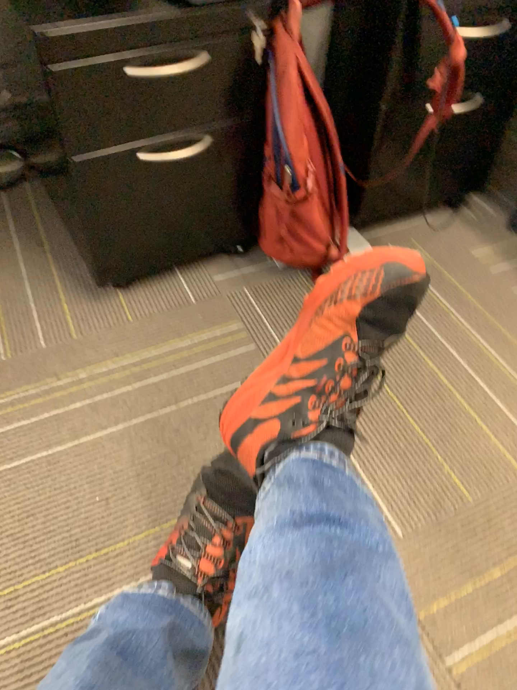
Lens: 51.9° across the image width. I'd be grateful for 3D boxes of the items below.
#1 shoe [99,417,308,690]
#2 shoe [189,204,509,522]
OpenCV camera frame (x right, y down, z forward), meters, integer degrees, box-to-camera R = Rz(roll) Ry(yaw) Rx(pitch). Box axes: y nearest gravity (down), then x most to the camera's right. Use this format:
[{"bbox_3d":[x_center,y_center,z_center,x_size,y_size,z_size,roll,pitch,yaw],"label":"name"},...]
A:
[{"bbox_3d":[-0.063,0.257,0.690,0.129,0.135,0.289,24,93,16],"label":"shoe"},{"bbox_3d":[0.076,0.031,0.561,0.118,0.303,0.143,3,44,-47],"label":"shoe"}]
